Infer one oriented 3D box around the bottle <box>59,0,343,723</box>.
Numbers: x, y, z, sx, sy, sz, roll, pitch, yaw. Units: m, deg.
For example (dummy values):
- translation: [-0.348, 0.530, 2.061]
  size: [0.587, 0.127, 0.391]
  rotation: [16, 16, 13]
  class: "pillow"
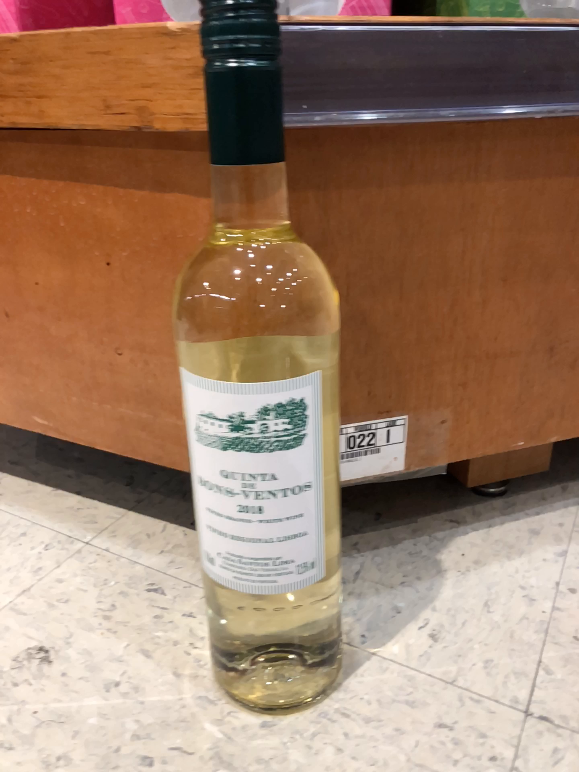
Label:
- translation: [-0.019, 0.001, 0.284]
  size: [0.080, 0.308, 0.081]
  rotation: [-2, 23, 1]
  class: "bottle"
